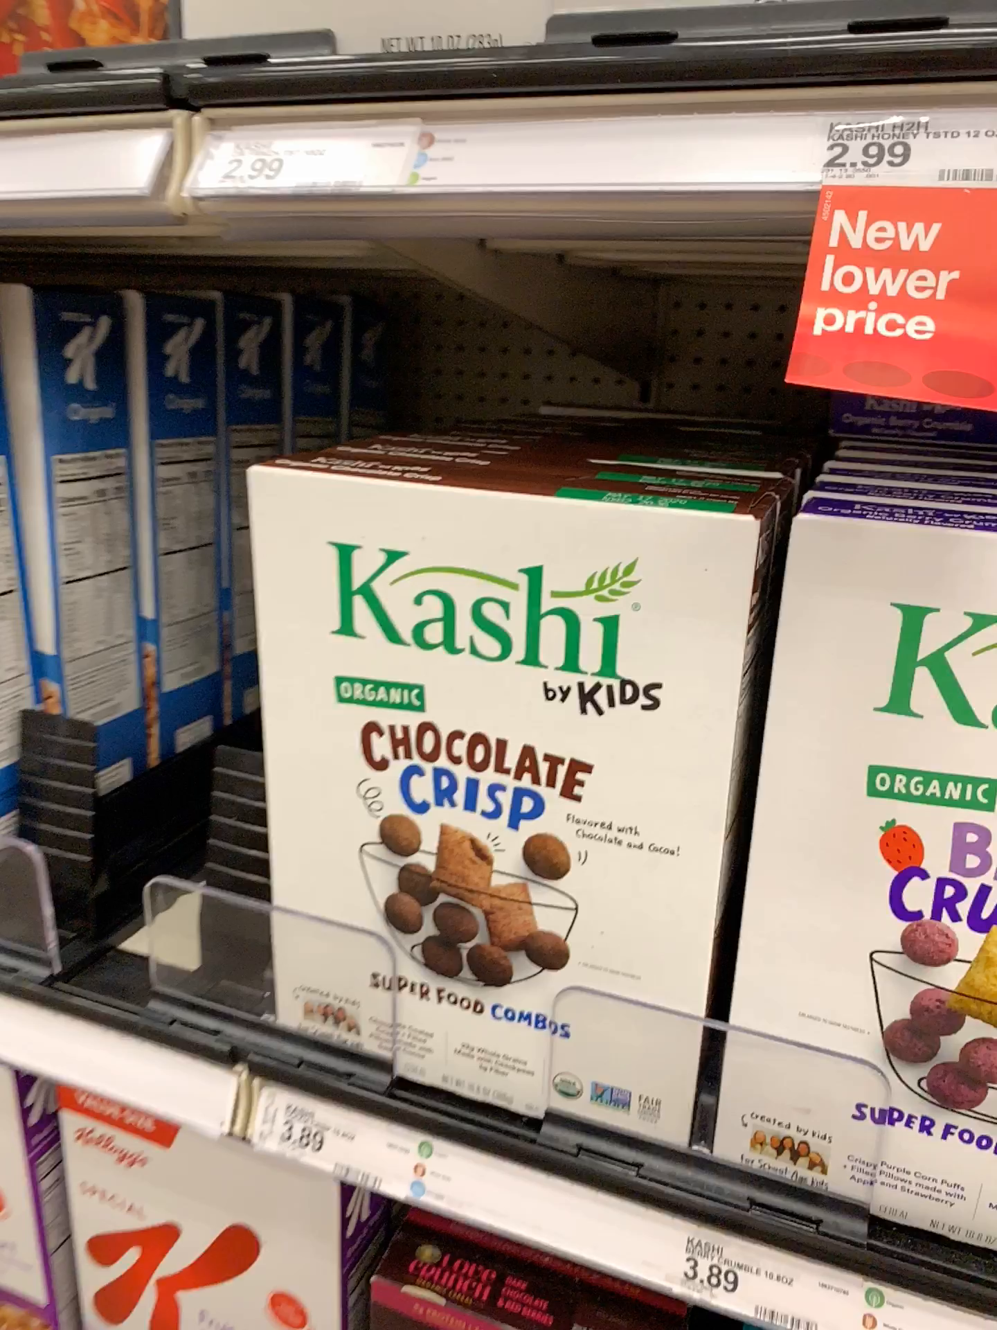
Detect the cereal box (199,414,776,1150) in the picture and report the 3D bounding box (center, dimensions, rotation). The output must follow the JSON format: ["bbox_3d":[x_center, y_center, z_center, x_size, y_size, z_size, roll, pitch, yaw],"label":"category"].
[{"bbox_3d":[-0.009,0.041,0.414,0.200,0.259,0.060,9,21,20],"label":"cereal box"}]
